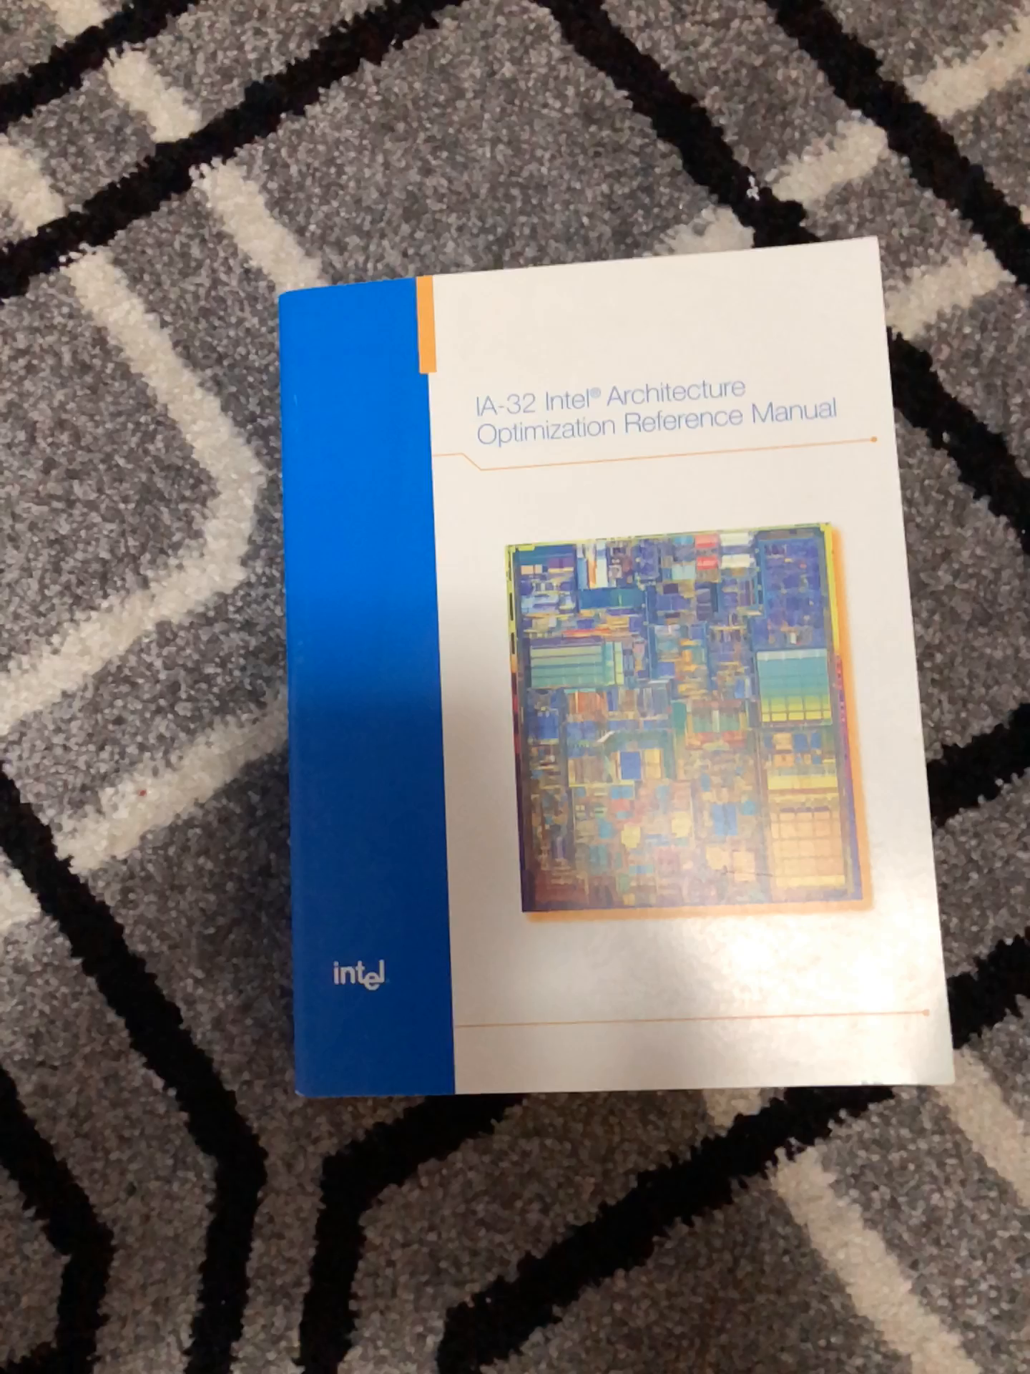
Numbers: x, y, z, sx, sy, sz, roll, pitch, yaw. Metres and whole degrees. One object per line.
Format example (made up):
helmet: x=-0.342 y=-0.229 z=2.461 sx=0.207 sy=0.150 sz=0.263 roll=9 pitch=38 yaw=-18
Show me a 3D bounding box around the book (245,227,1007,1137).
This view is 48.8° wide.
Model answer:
book: x=0.021 y=-0.001 z=0.291 sx=0.170 sy=0.040 sz=0.210 roll=-3 pitch=82 yaw=6
